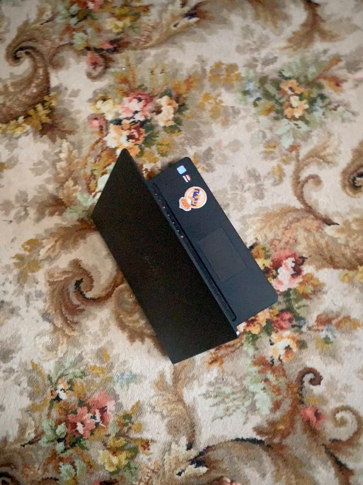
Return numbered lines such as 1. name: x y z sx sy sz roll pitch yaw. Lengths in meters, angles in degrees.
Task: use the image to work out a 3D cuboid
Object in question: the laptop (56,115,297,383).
1. laptop: -0.011 0.014 0.706 0.251 0.194 0.367 -32 79 3
